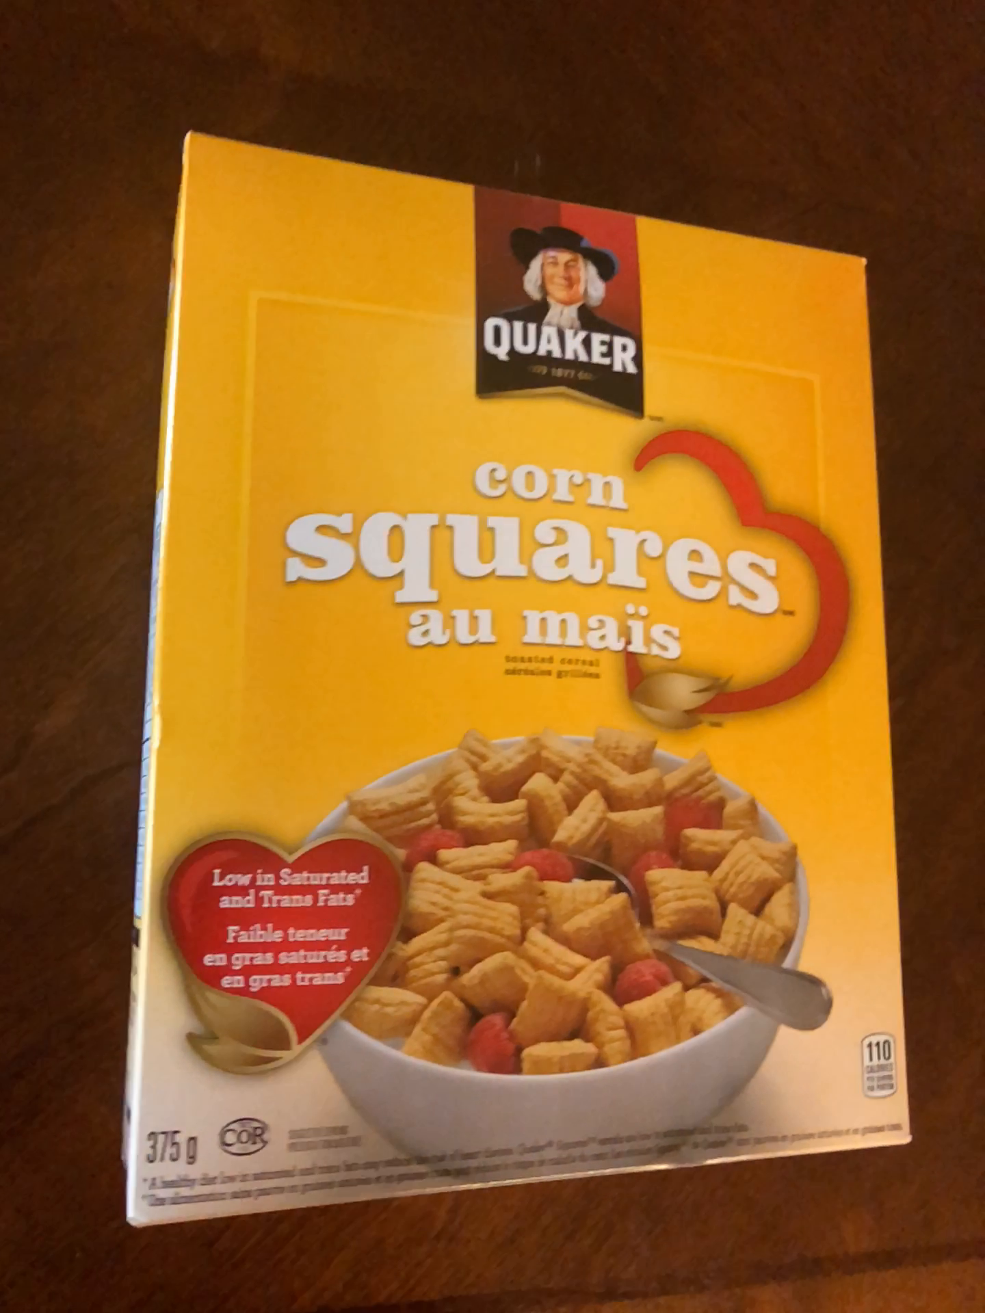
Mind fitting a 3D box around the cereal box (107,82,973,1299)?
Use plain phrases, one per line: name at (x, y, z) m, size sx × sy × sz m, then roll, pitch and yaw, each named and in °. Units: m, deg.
cereal box at (0.018, 0.005, 0.301) m, size 0.220 × 0.050 × 0.270 m, roll 3°, pitch 81°, yaw -20°
